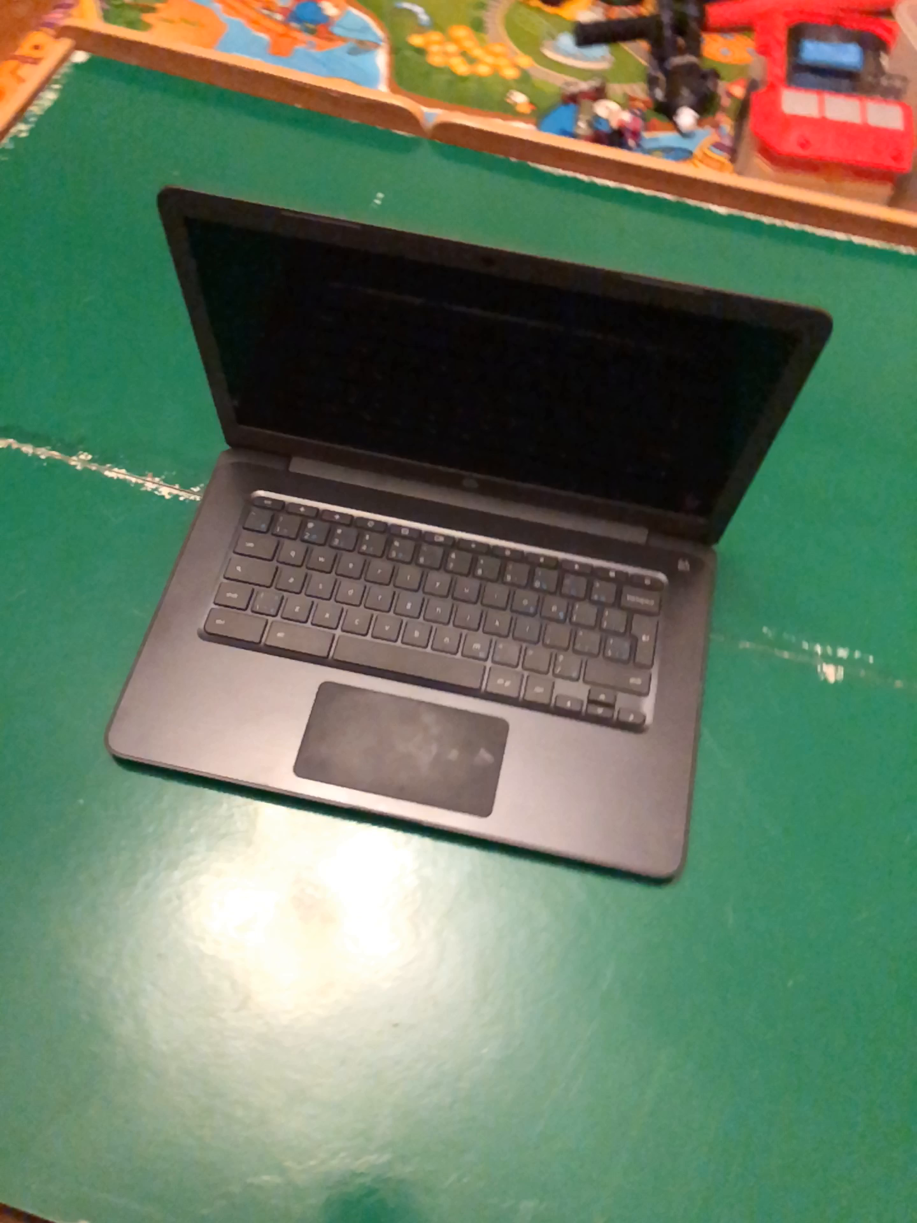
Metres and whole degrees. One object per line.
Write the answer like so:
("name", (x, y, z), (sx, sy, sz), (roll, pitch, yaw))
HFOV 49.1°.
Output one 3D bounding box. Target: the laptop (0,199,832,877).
("laptop", (-0.011, -0.029, 0.516), (0.317, 0.204, 0.211), (12, 61, 5))
